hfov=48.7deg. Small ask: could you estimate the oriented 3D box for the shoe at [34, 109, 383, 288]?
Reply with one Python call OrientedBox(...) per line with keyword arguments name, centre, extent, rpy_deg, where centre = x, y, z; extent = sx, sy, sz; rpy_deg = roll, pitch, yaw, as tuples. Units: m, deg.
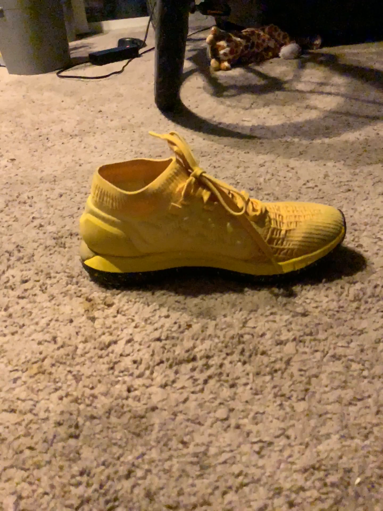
OrientedBox(name="shoe", centre=(0.027, -0.062, 0.454), extent=(0.320, 0.130, 0.130), rpy_deg=(-2, 35, 4))
